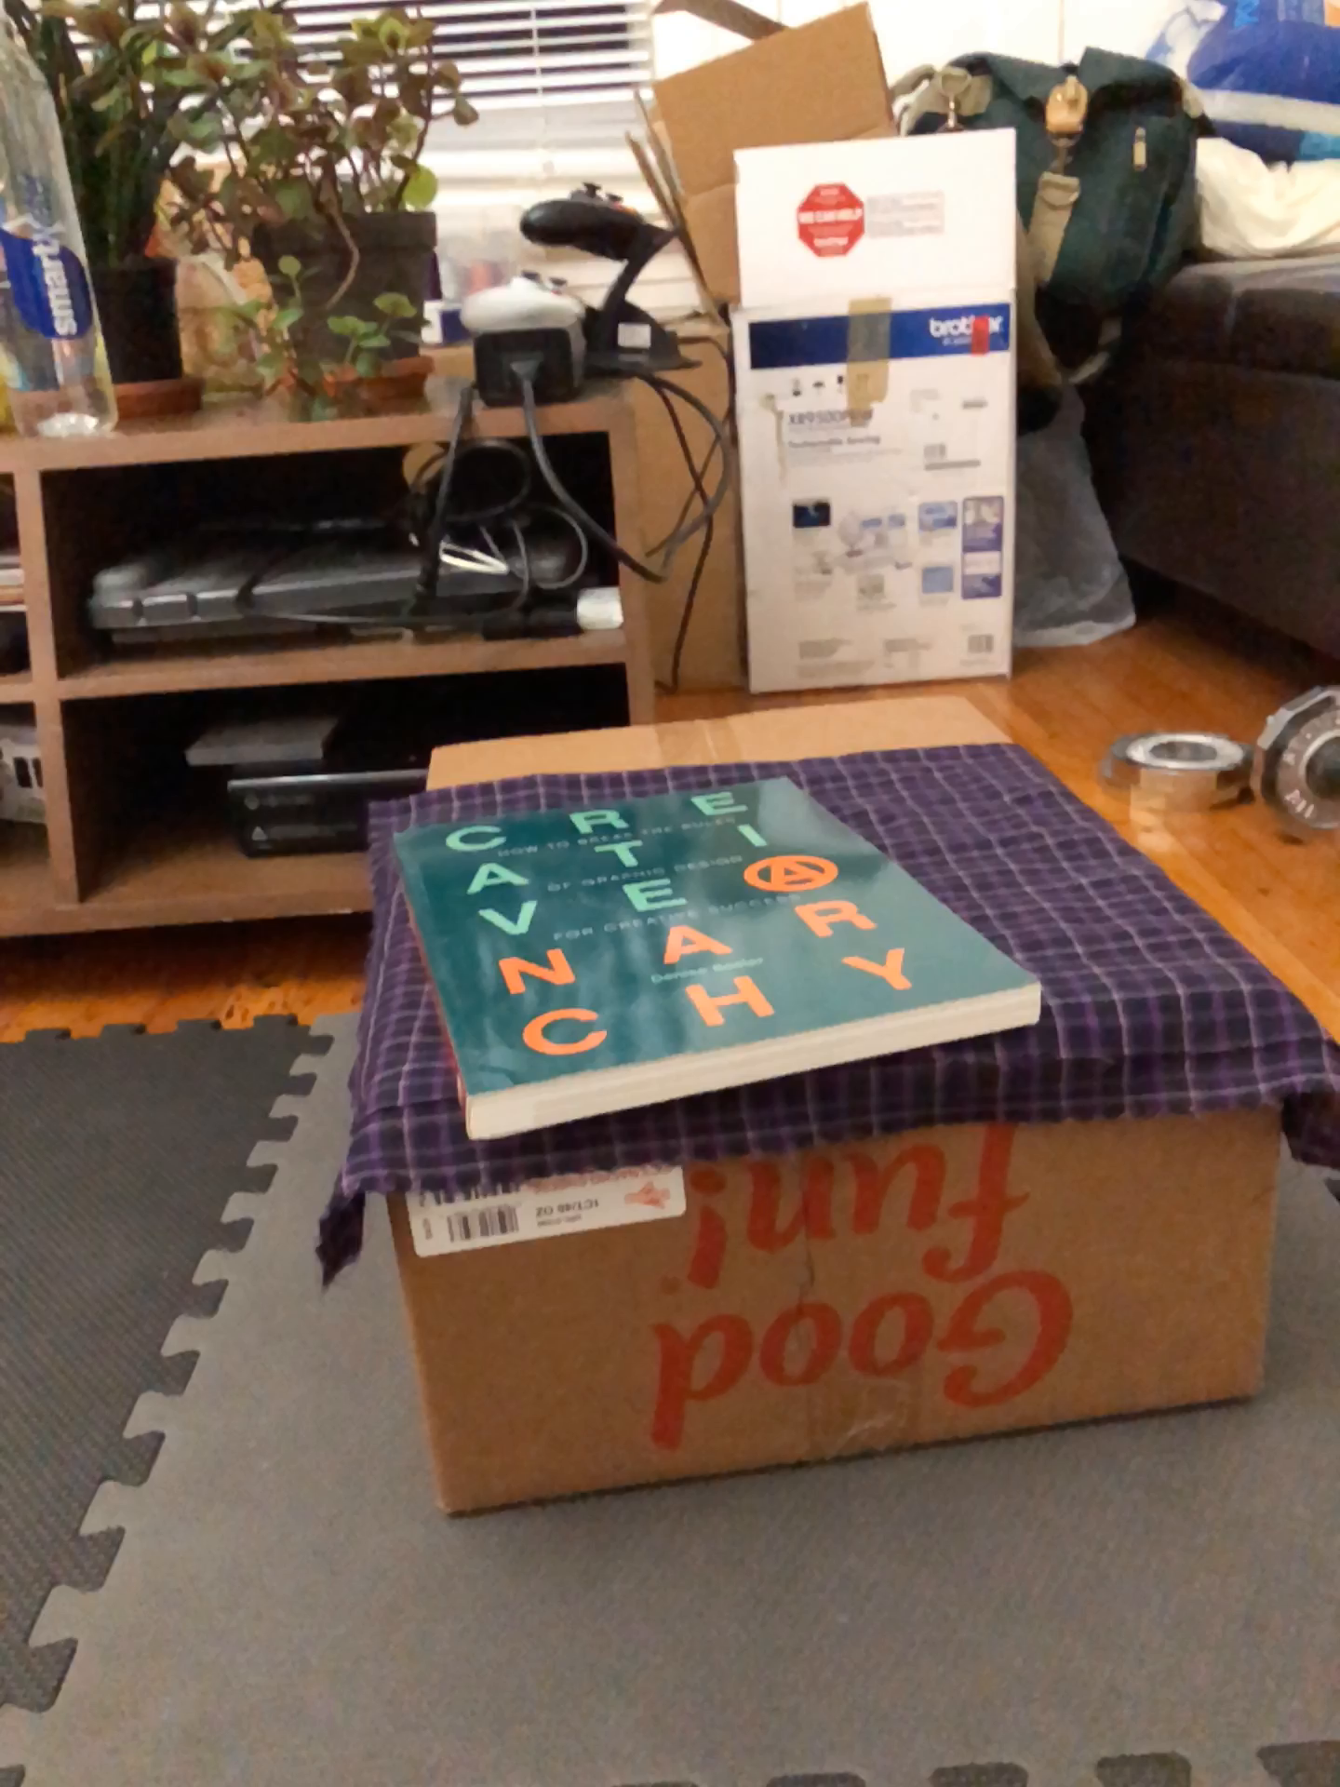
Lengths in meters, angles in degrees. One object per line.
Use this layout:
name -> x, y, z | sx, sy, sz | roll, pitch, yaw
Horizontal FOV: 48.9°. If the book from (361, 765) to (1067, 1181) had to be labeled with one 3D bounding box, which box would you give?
book -> -0.007, 0.012, 0.628 | 0.220, 0.020, 0.301 | -10, 23, -13
